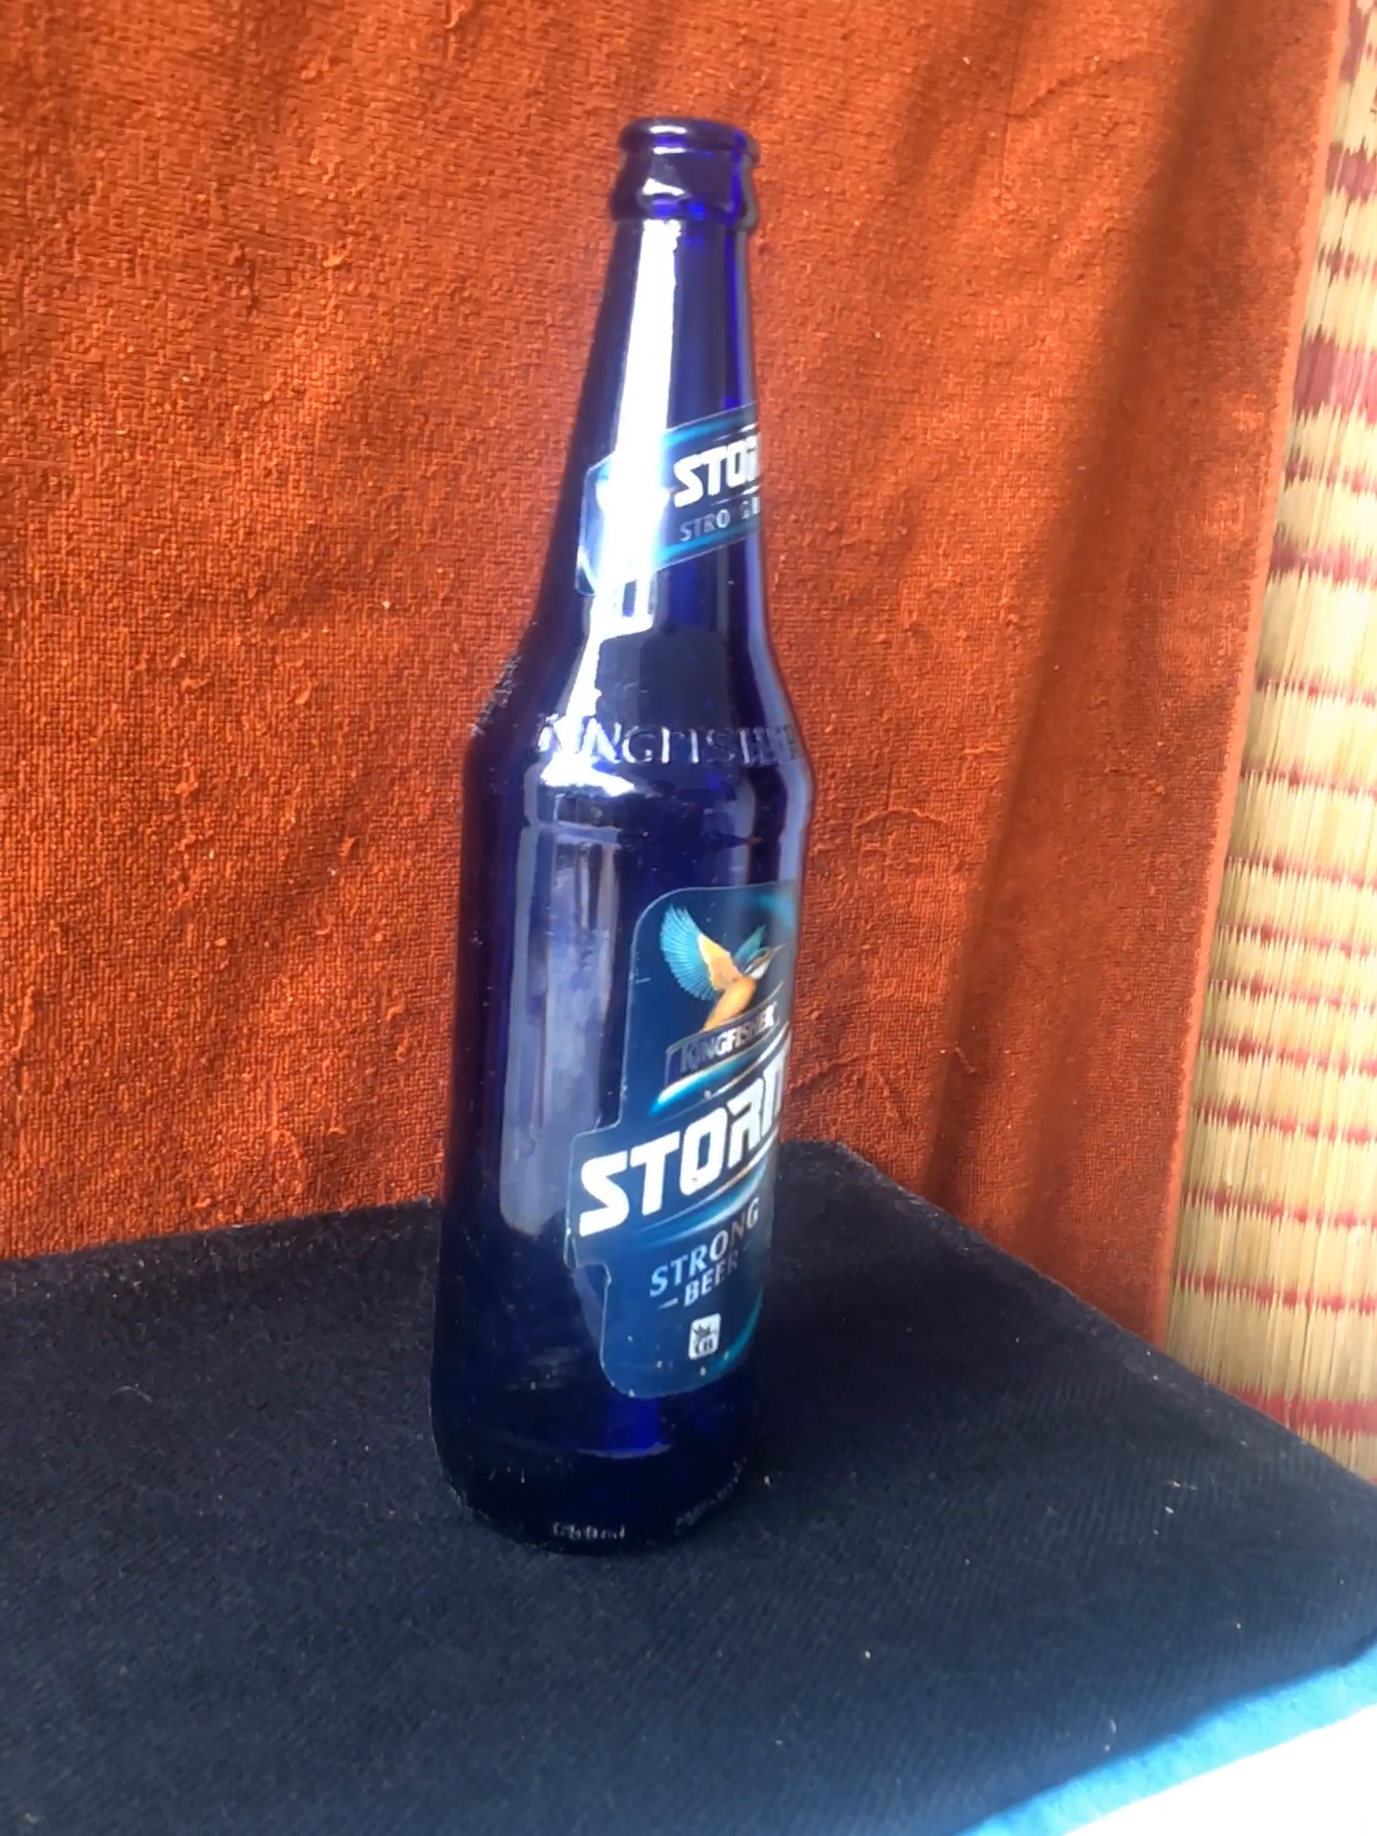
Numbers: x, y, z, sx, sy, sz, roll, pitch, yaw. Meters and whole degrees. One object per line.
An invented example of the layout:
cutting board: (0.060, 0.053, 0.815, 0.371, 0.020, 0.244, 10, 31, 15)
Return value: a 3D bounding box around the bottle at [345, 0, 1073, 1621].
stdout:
bottle: (-0.005, -0.014, 0.310, 0.080, 0.279, 0.080, 7, 14, -2)
